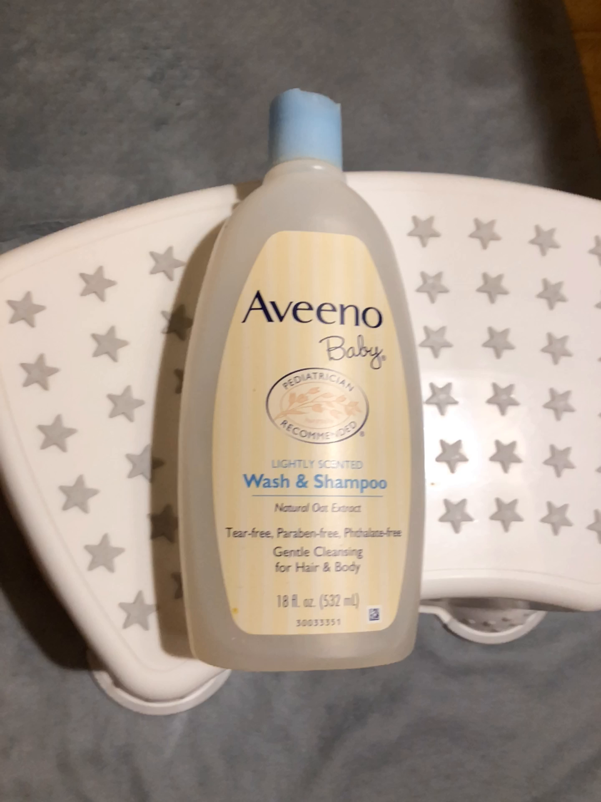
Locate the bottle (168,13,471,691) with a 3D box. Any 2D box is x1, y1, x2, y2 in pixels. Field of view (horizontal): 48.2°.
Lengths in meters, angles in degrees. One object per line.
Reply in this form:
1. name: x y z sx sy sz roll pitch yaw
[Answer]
1. bottle: 0.006 -0.022 0.258 0.100 0.040 0.240 2 80 -9
